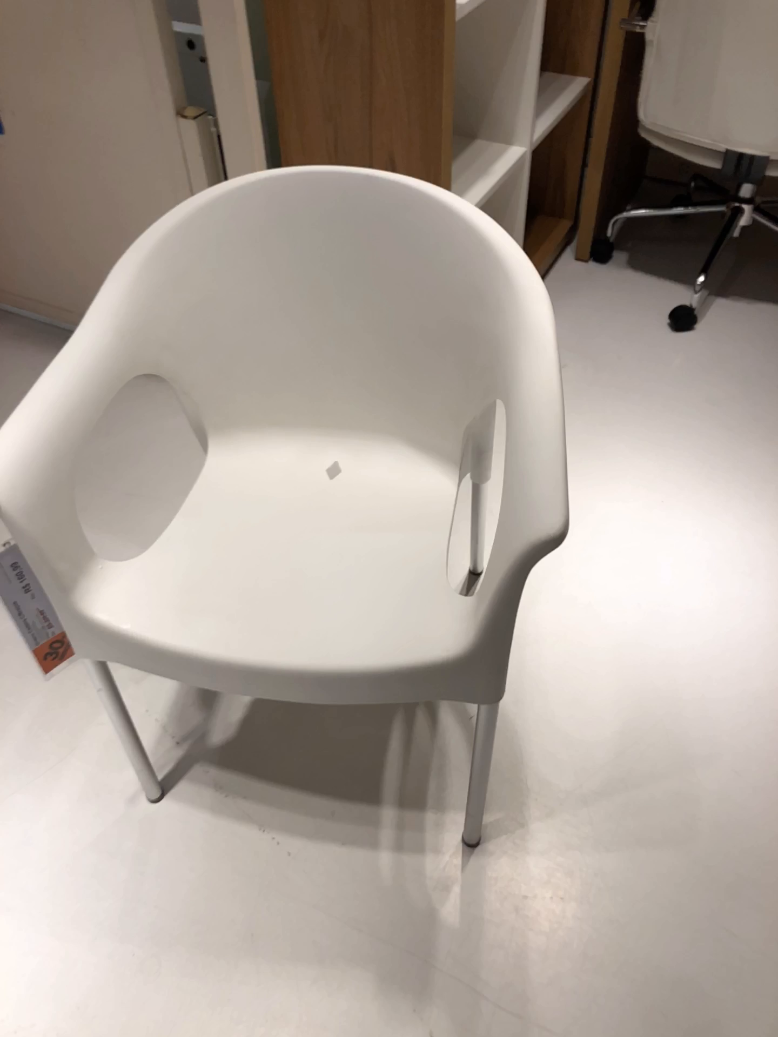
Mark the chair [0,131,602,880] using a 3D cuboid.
[{"bbox_3d":[-0.082,-0.012,1.161,0.610,0.735,0.614,7,47,8],"label":"chair"}]
